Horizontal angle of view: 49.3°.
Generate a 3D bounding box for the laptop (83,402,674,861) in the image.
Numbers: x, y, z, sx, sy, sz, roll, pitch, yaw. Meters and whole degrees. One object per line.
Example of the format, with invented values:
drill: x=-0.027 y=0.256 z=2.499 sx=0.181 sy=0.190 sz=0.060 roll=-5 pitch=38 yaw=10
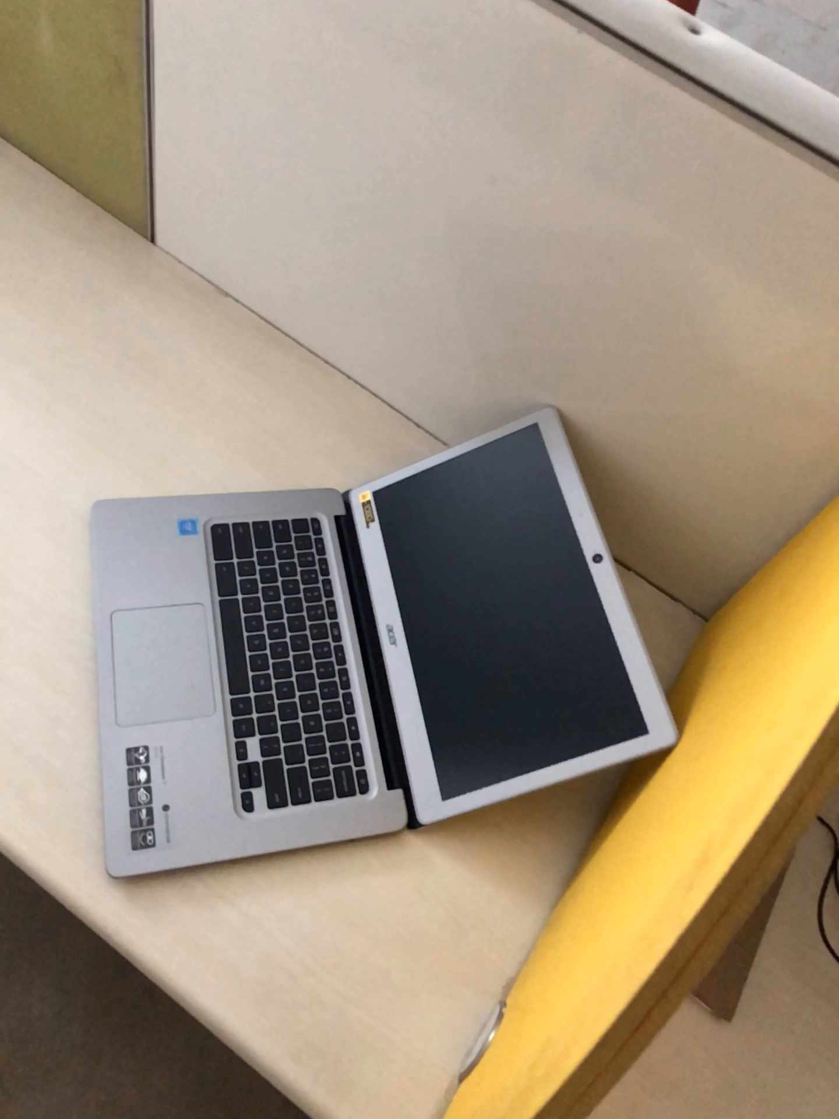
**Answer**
laptop: x=-0.053 y=0.039 z=0.757 sx=0.409 sy=0.124 sz=0.320 roll=-4 pitch=59 yaw=-16
